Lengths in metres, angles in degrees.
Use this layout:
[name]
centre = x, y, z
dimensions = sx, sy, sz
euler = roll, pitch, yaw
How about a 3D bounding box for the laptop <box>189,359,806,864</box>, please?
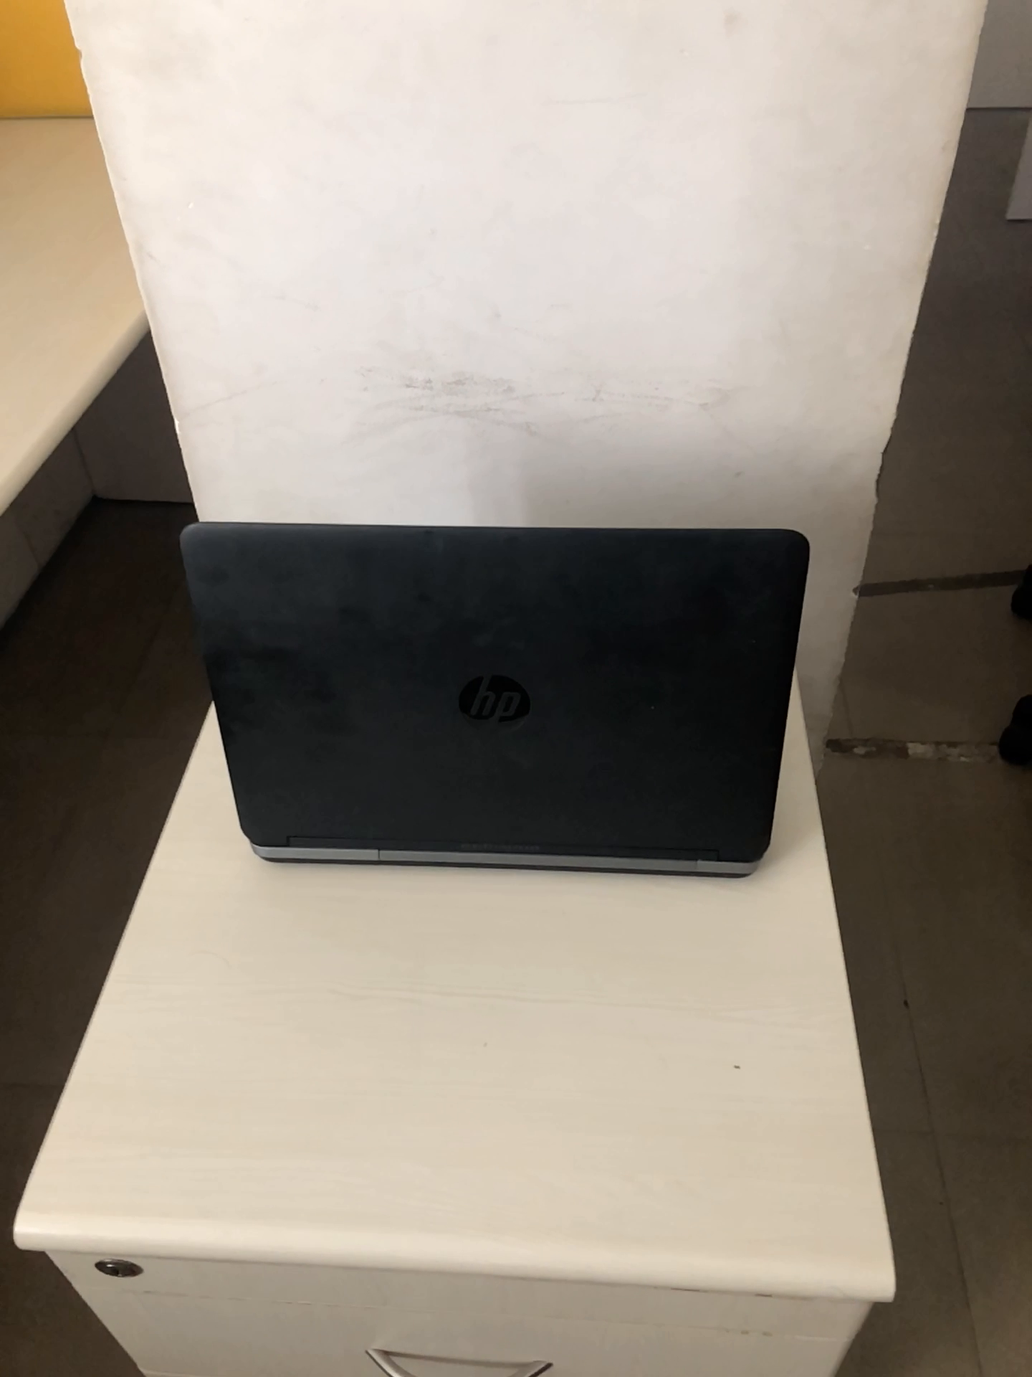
[laptop]
centre = 0.000, -0.050, 0.728
dimensions = 0.317, 0.226, 0.205
euler = 2, 45, 4
